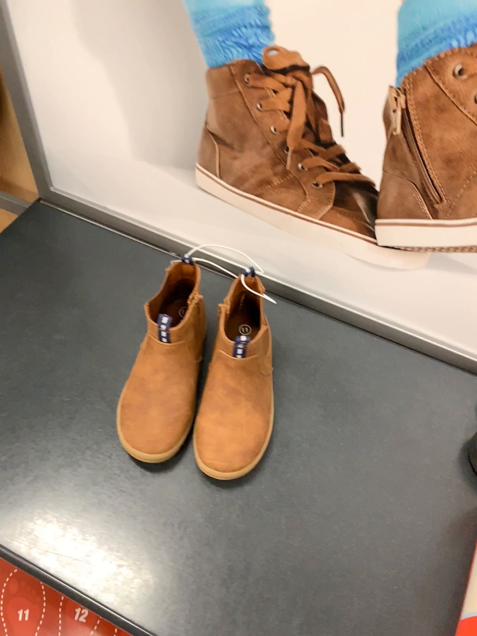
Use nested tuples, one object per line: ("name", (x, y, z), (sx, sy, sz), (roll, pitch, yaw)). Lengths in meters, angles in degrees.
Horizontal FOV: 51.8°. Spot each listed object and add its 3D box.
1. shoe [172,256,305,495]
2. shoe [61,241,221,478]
("shoe", (0.003, 0.050, 0.470), (0.086, 0.100, 0.191), (11, 52, 2))
("shoe", (-0.081, 0.035, 0.470), (0.086, 0.100, 0.191), (11, 52, 2))
